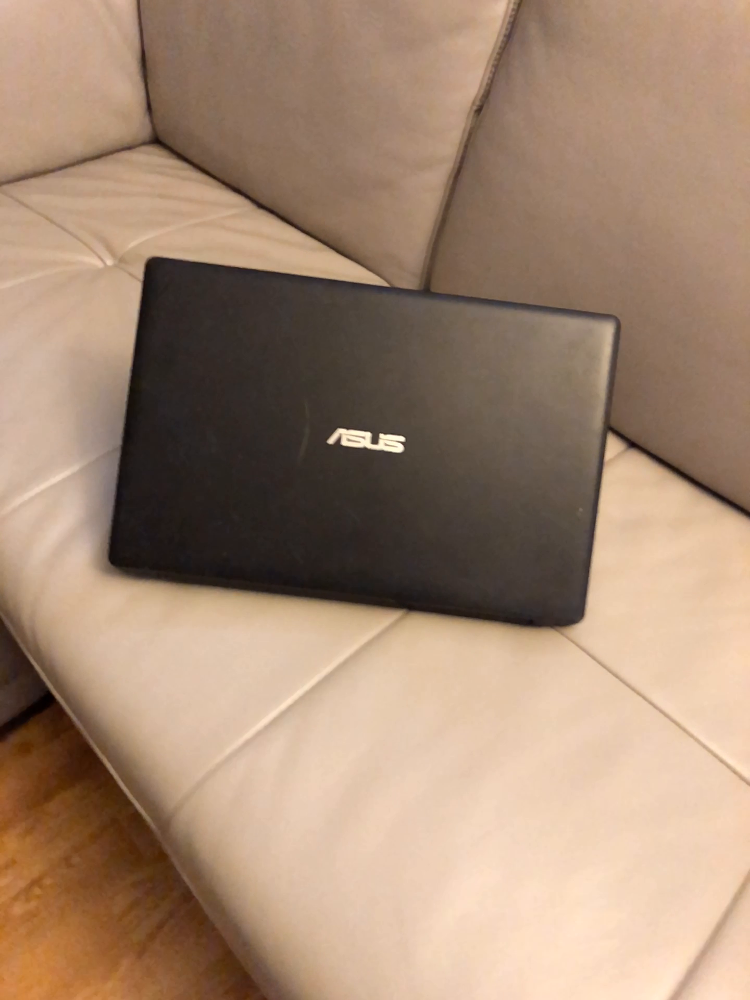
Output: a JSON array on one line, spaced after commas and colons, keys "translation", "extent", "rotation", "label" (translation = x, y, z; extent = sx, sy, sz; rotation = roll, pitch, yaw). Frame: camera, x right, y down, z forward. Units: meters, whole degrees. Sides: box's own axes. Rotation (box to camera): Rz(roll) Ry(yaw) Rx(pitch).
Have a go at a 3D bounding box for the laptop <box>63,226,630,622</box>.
[{"translation": [-0.012, -0.068, 0.673], "extent": [0.370, 0.155, 0.243], "rotation": [7, 47, 1], "label": "laptop"}]
